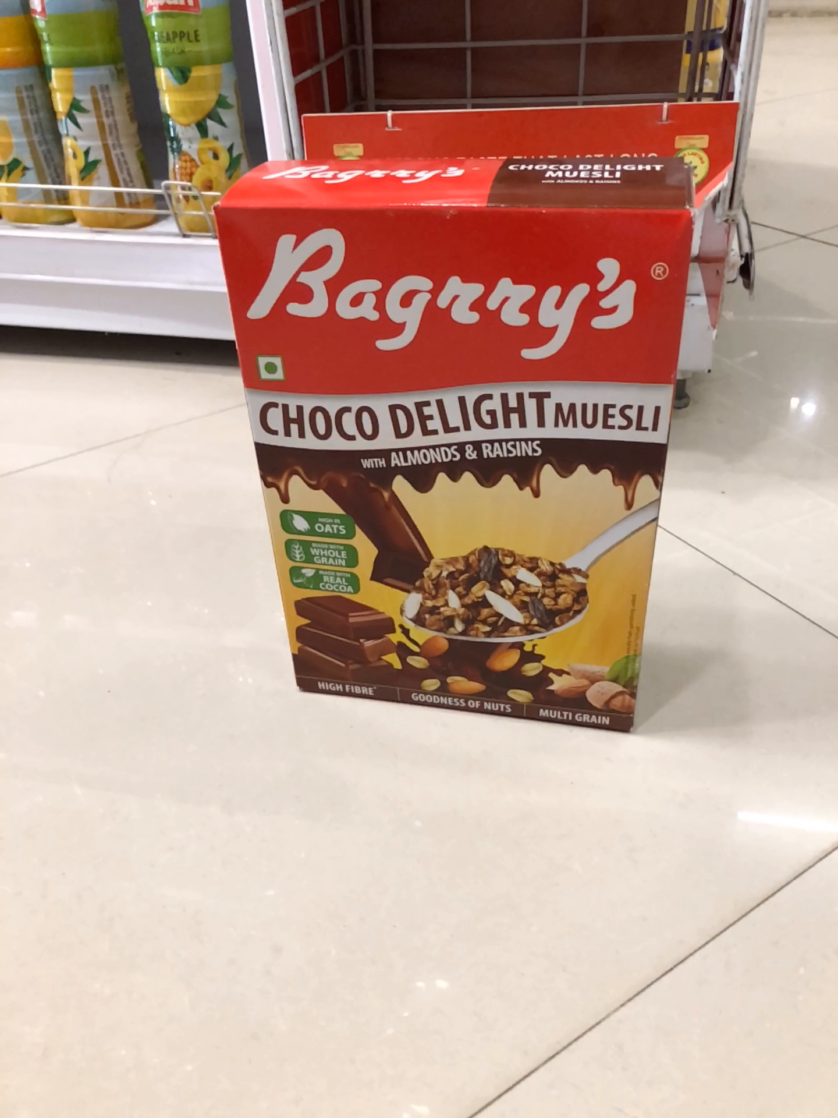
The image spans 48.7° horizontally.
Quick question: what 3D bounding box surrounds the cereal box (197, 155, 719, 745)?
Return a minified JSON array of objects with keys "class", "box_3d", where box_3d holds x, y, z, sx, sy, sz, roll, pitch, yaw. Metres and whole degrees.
[{"class":"cereal box","box_3d":[0.022,-0.042,0.433,0.190,0.258,0.071,6,36,12]}]
